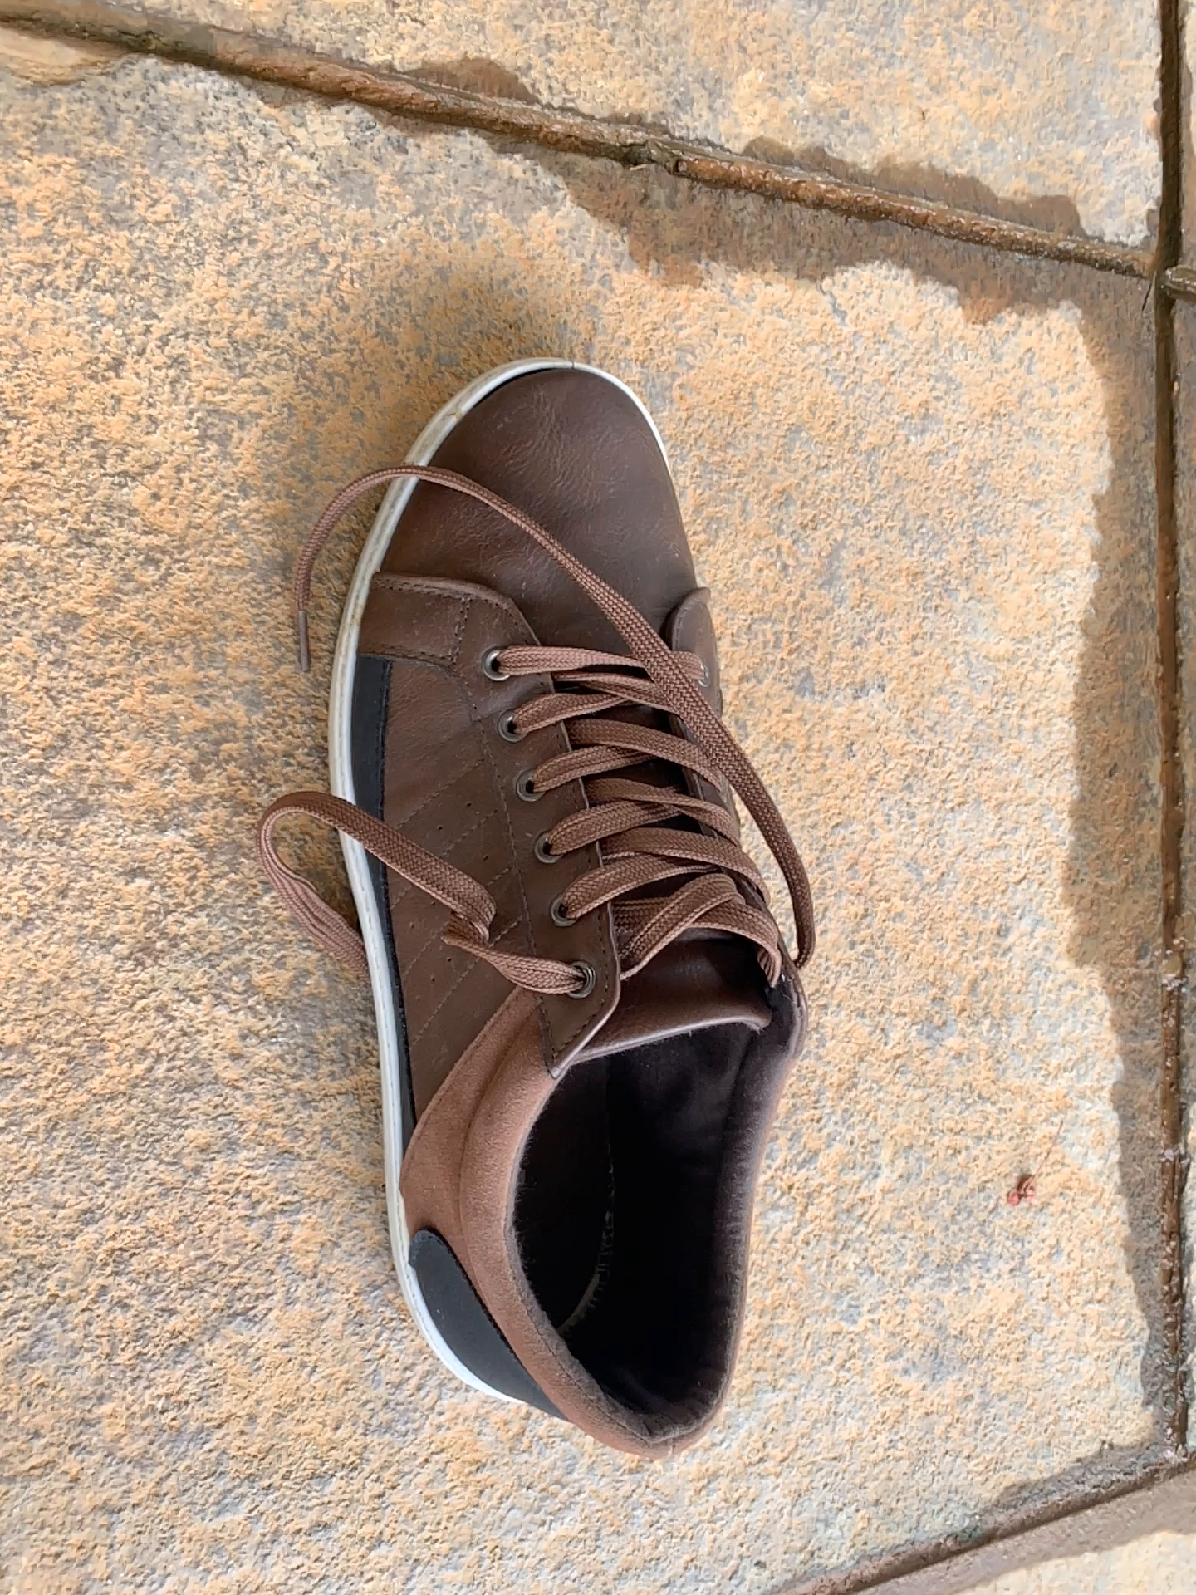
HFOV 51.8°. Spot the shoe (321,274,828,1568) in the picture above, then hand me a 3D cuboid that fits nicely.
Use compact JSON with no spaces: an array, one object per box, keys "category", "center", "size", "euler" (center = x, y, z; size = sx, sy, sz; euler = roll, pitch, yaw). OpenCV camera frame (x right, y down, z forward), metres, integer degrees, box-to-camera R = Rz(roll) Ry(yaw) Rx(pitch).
[{"category":"shoe","center":[-0.009,0.028,0.345],"size":[0.110,0.080,0.300],"euler":[-2,91,-26]}]
